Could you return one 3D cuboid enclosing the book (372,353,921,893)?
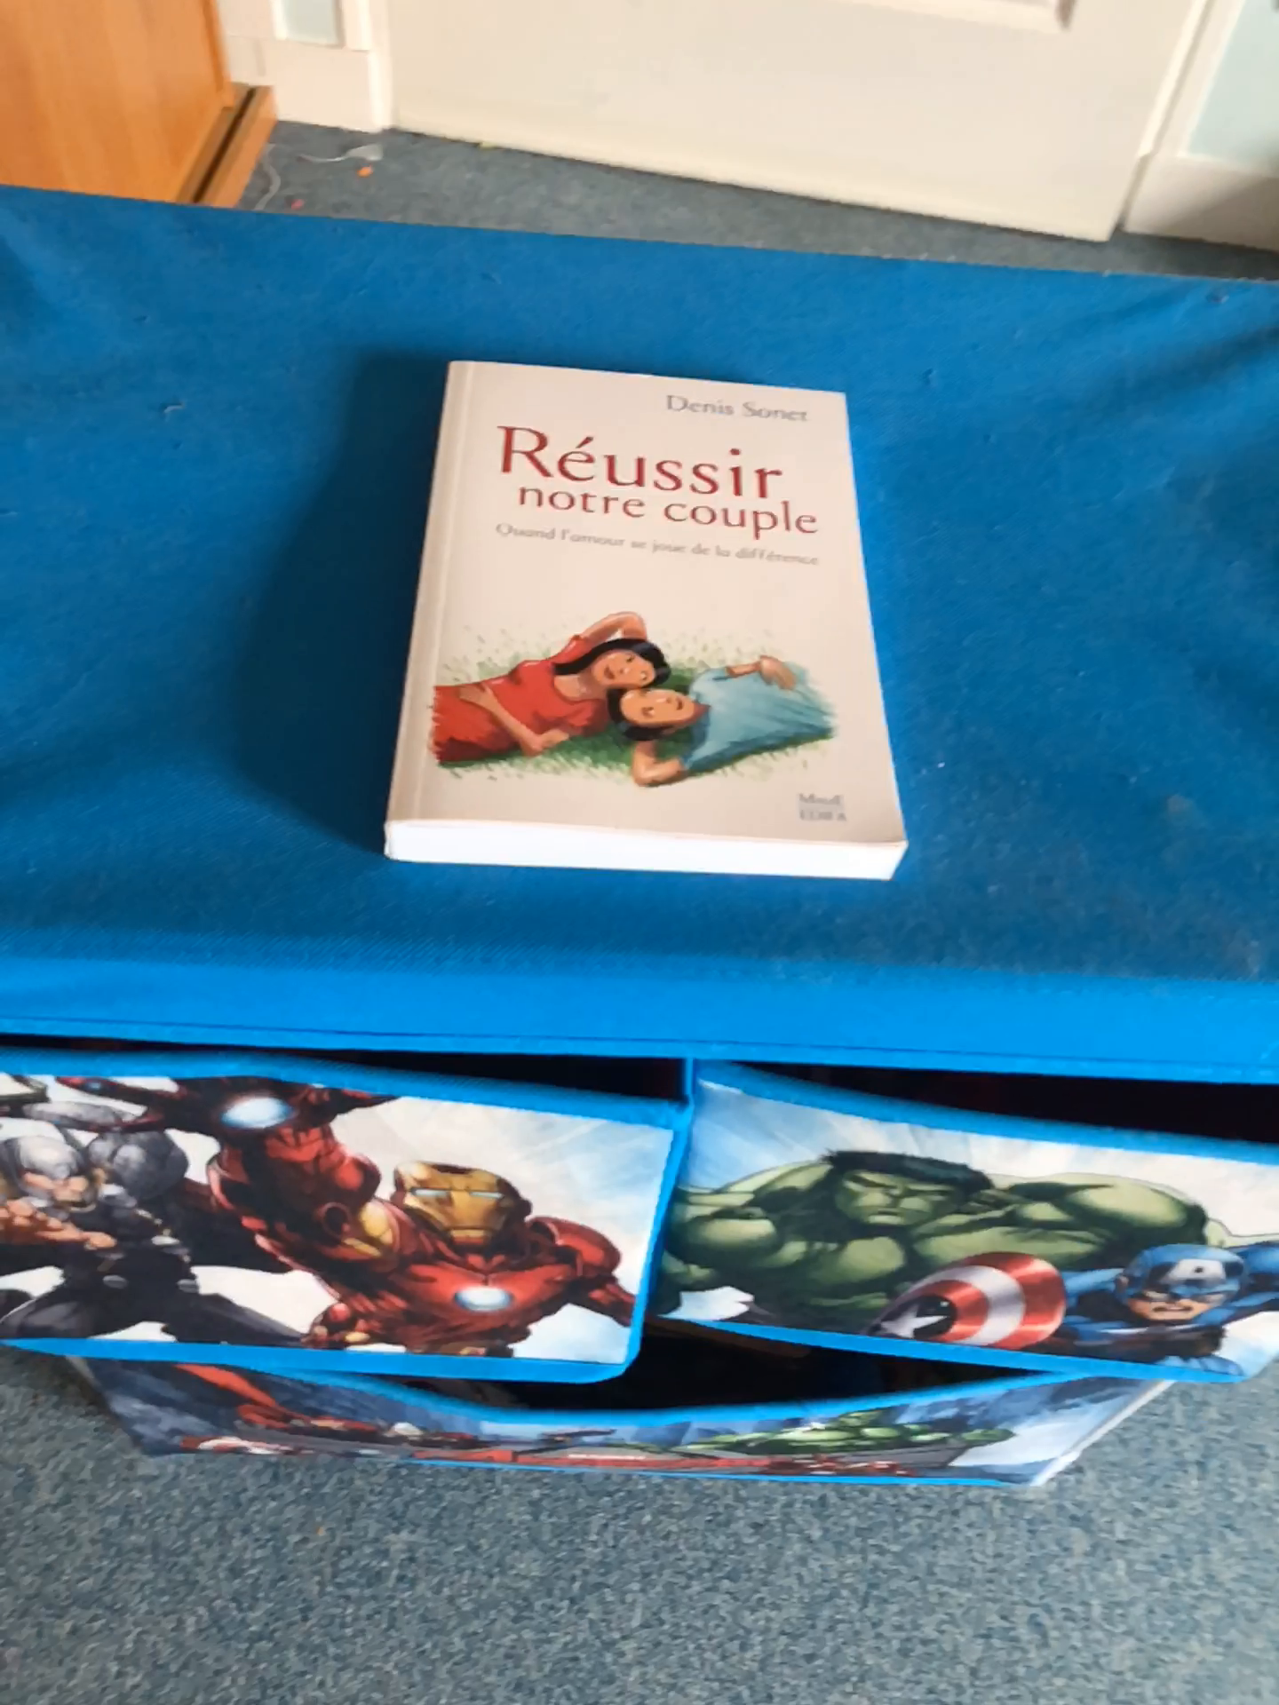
[{"bbox_3d":[0.002,-0.074,0.401,0.134,0.016,0.186,3,54,-5],"label":"book"}]
